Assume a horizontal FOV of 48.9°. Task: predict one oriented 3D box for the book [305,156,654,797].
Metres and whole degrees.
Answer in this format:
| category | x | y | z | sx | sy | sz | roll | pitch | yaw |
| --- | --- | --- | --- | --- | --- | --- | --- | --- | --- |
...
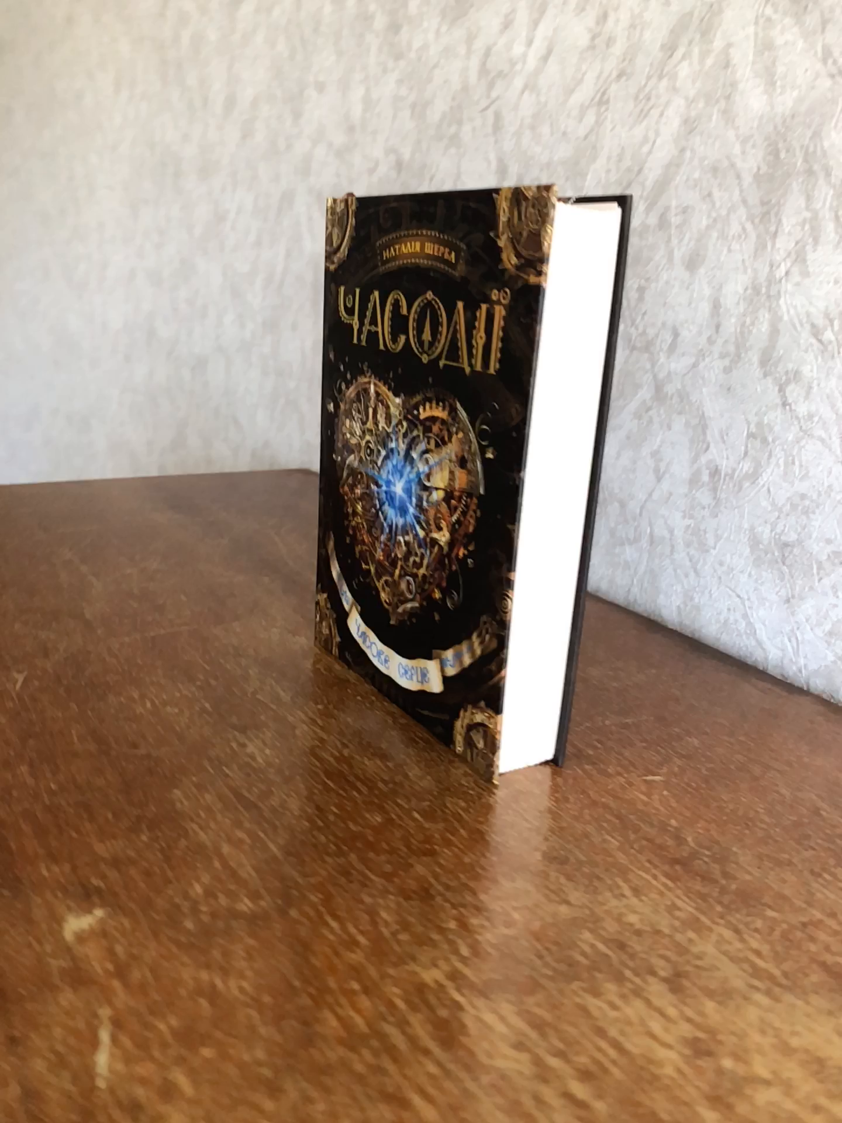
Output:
| category | x | y | z | sx | sy | sz | roll | pitch | yaw |
| --- | --- | --- | --- | --- | --- | --- | --- | --- | --- |
| book | 0.010 | -0.044 | 0.404 | 0.041 | 0.228 | 0.167 | -5 | 18 | -33 |
